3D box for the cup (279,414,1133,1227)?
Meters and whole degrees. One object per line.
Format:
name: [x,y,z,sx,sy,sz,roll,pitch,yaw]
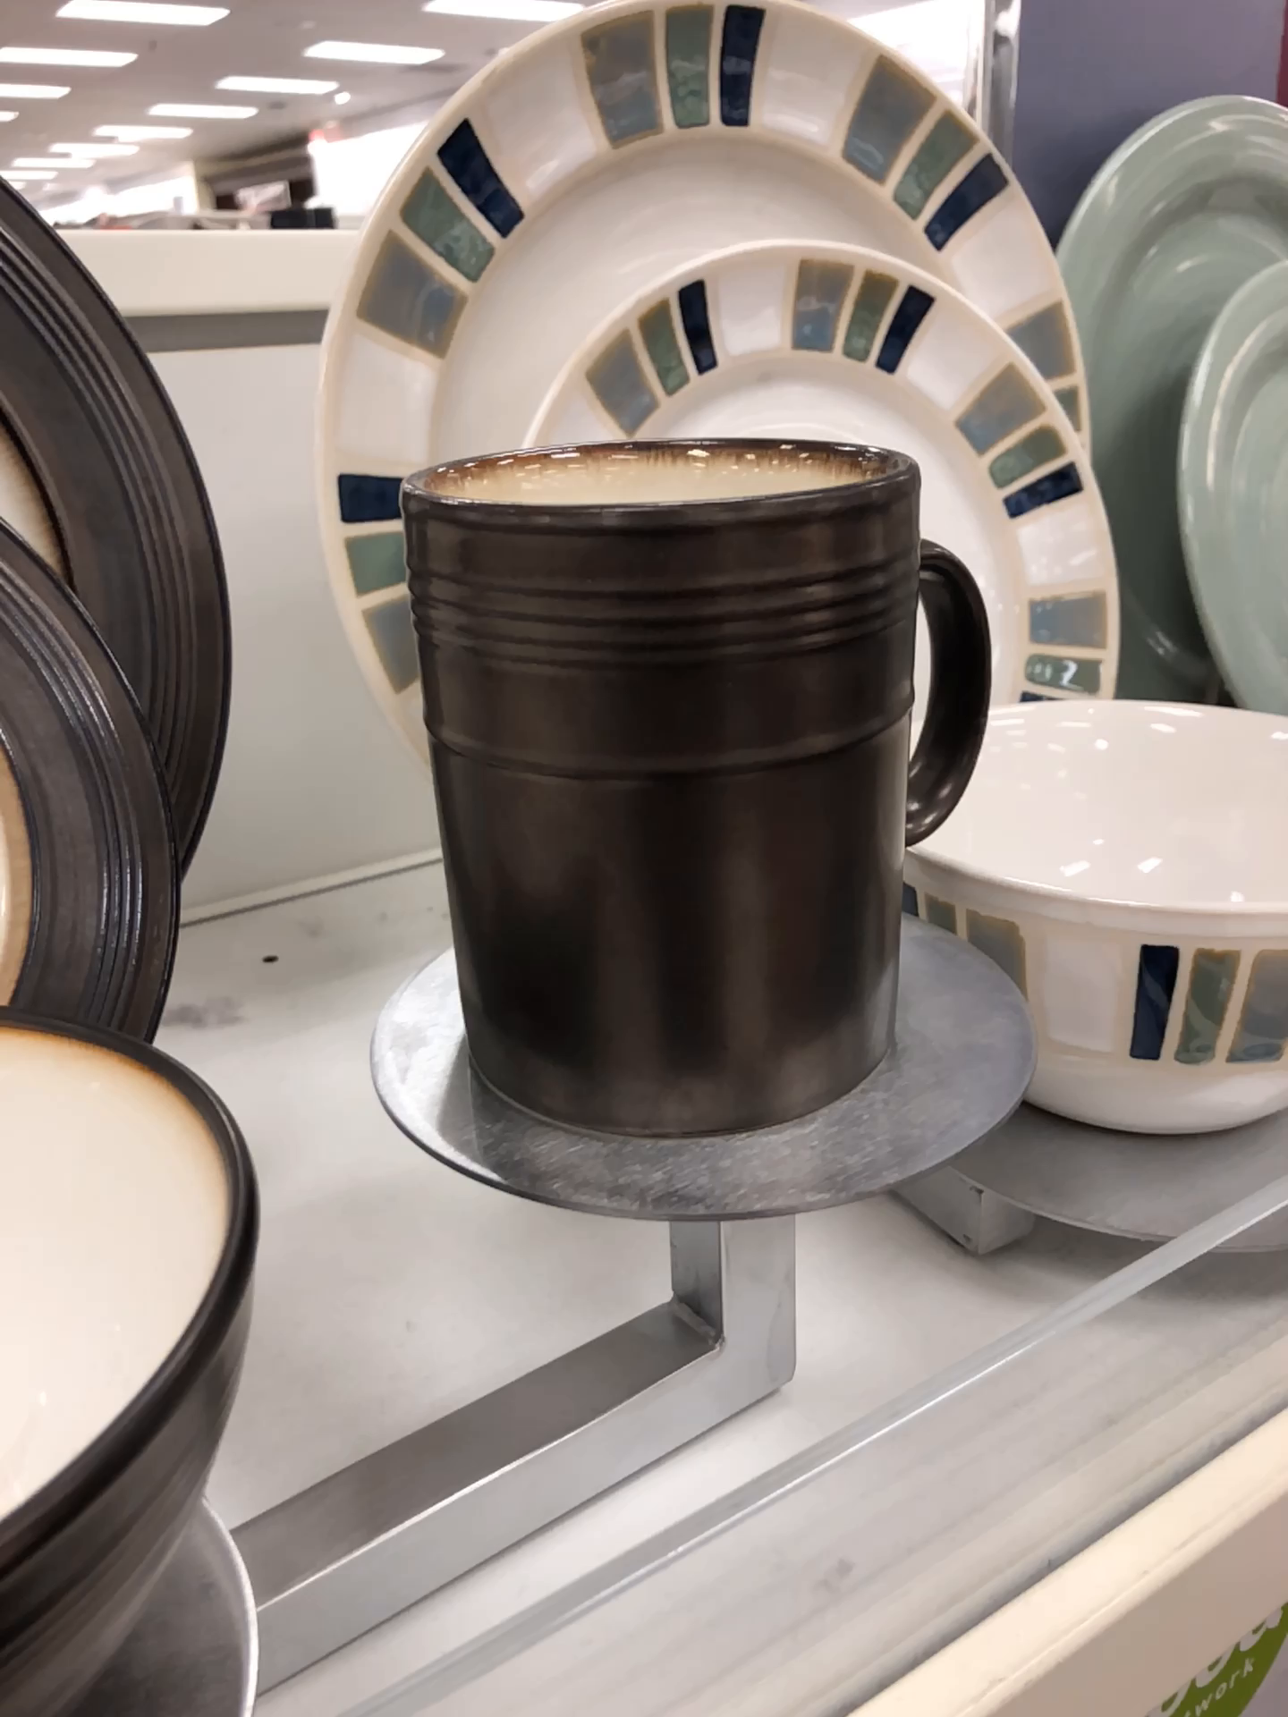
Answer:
cup: [0.015,-0.020,0.258,0.119,0.102,0.083,-21,29,-40]
